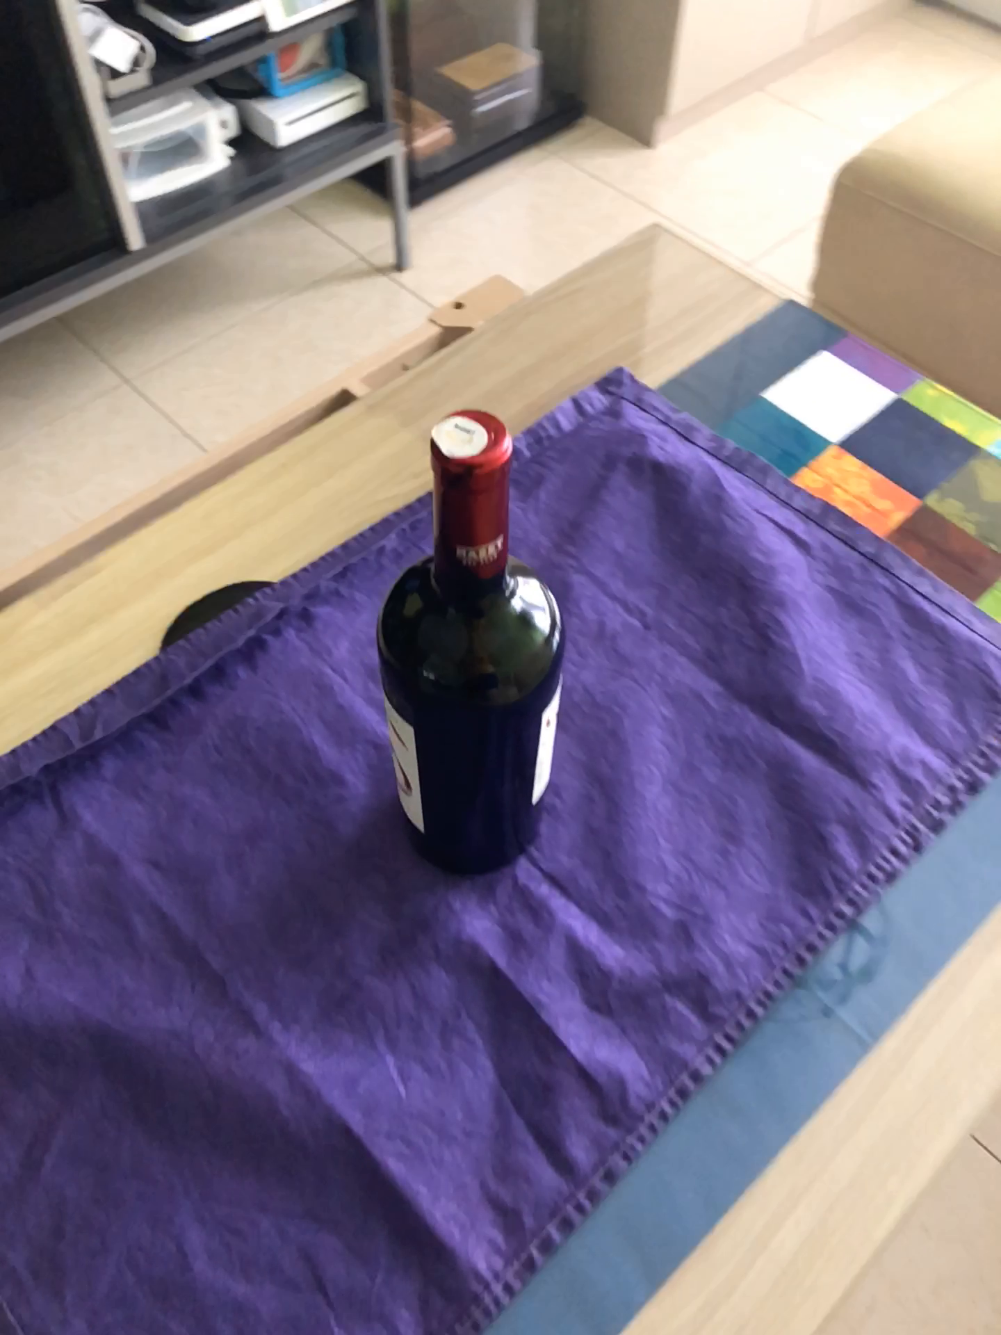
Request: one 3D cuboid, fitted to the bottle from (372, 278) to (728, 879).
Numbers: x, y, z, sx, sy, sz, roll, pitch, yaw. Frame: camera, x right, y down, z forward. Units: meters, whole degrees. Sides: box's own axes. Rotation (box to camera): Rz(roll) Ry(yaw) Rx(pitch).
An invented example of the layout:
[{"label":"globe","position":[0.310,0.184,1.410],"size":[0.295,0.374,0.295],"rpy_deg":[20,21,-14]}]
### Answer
[{"label":"bottle","position":[0.014,-0.020,0.494],"size":[0.090,0.269,0.090],"rpy_deg":[1,54,-1]}]
